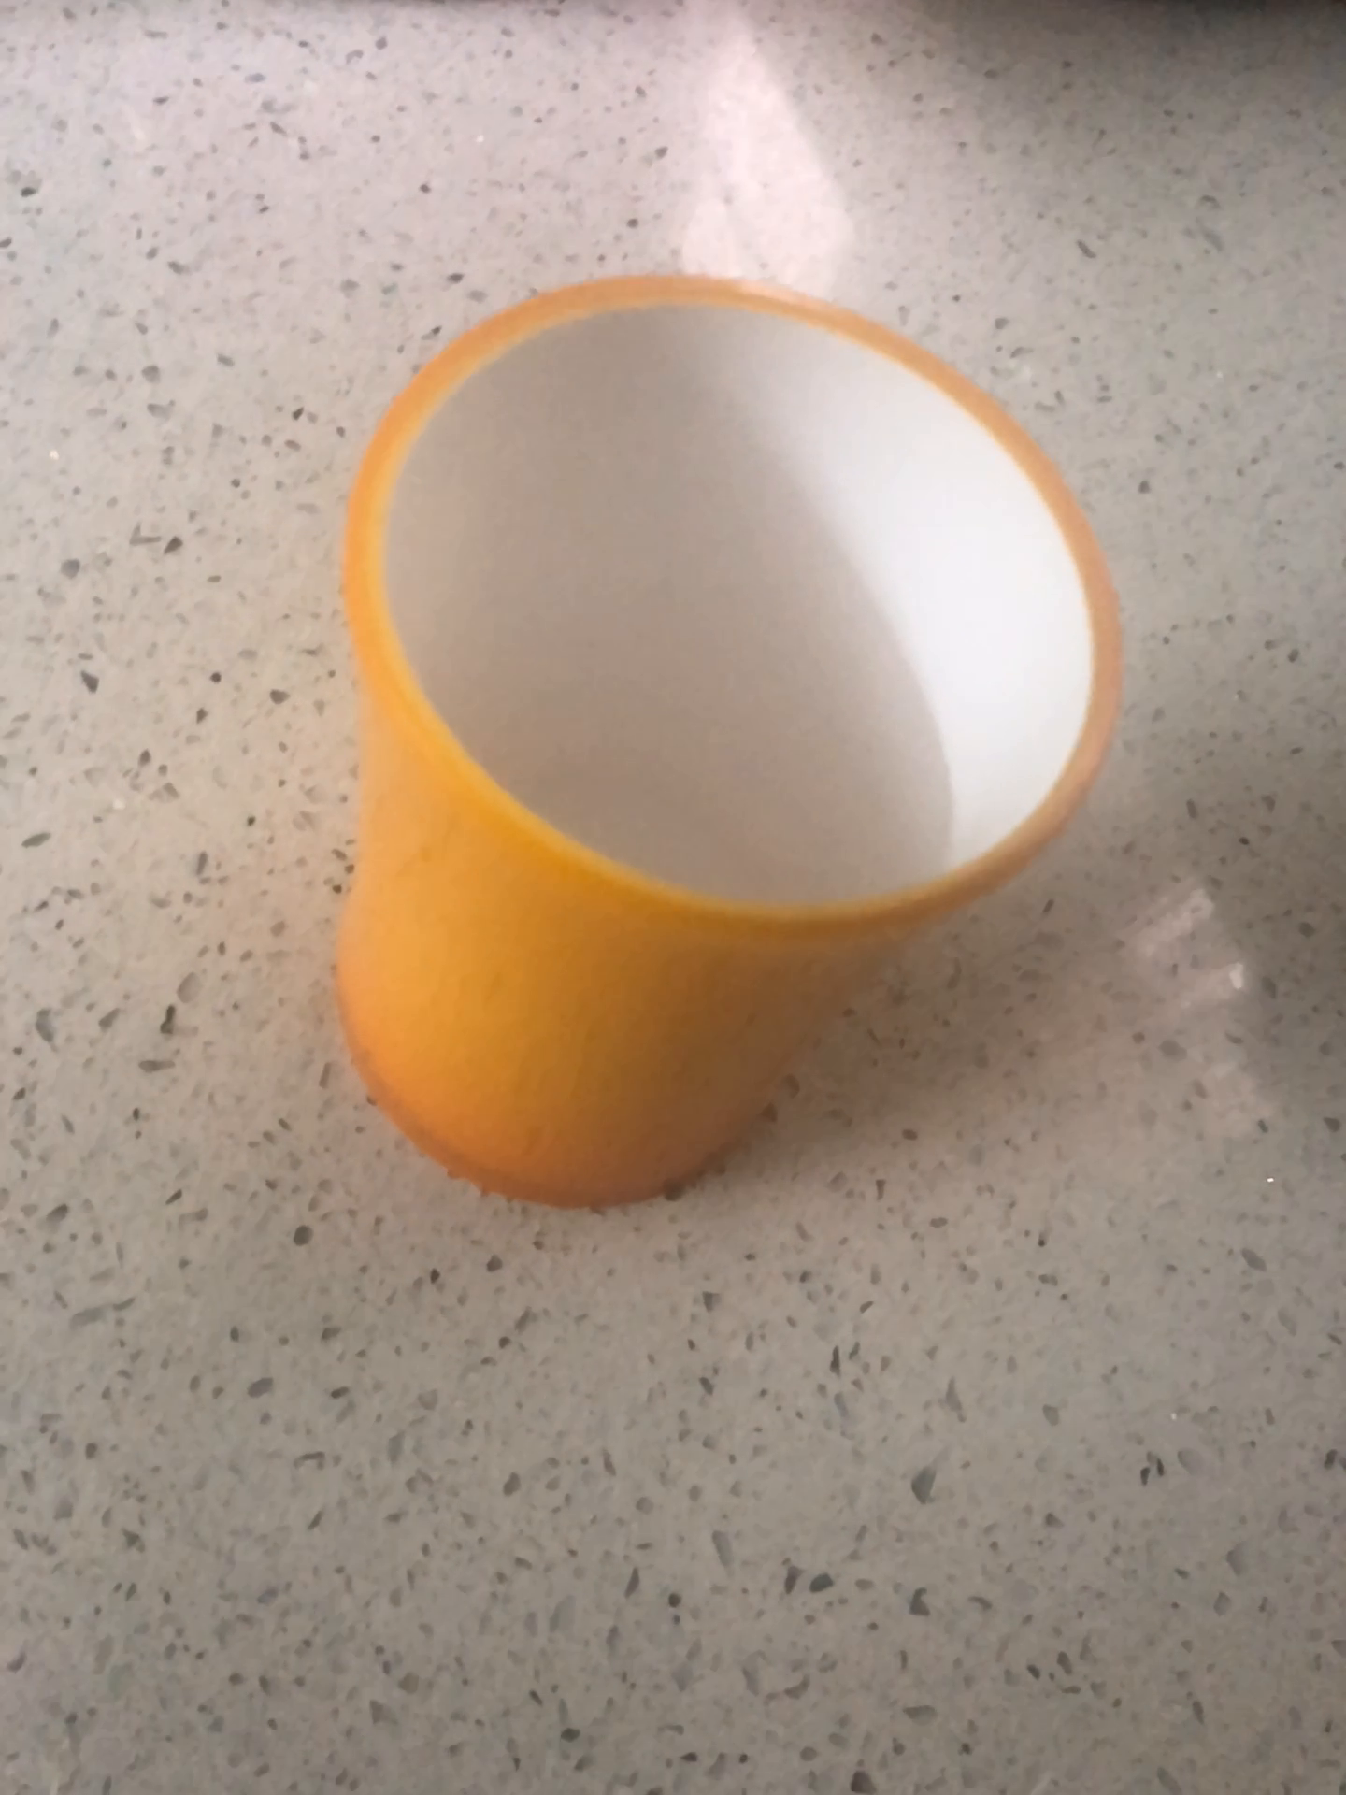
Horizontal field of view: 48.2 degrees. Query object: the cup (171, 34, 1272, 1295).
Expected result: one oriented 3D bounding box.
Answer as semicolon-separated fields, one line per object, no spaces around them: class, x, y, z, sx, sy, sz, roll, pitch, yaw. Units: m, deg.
cup;-0.002;-0.011;0.172;0.080;0.110;0.080;6;64;-12
